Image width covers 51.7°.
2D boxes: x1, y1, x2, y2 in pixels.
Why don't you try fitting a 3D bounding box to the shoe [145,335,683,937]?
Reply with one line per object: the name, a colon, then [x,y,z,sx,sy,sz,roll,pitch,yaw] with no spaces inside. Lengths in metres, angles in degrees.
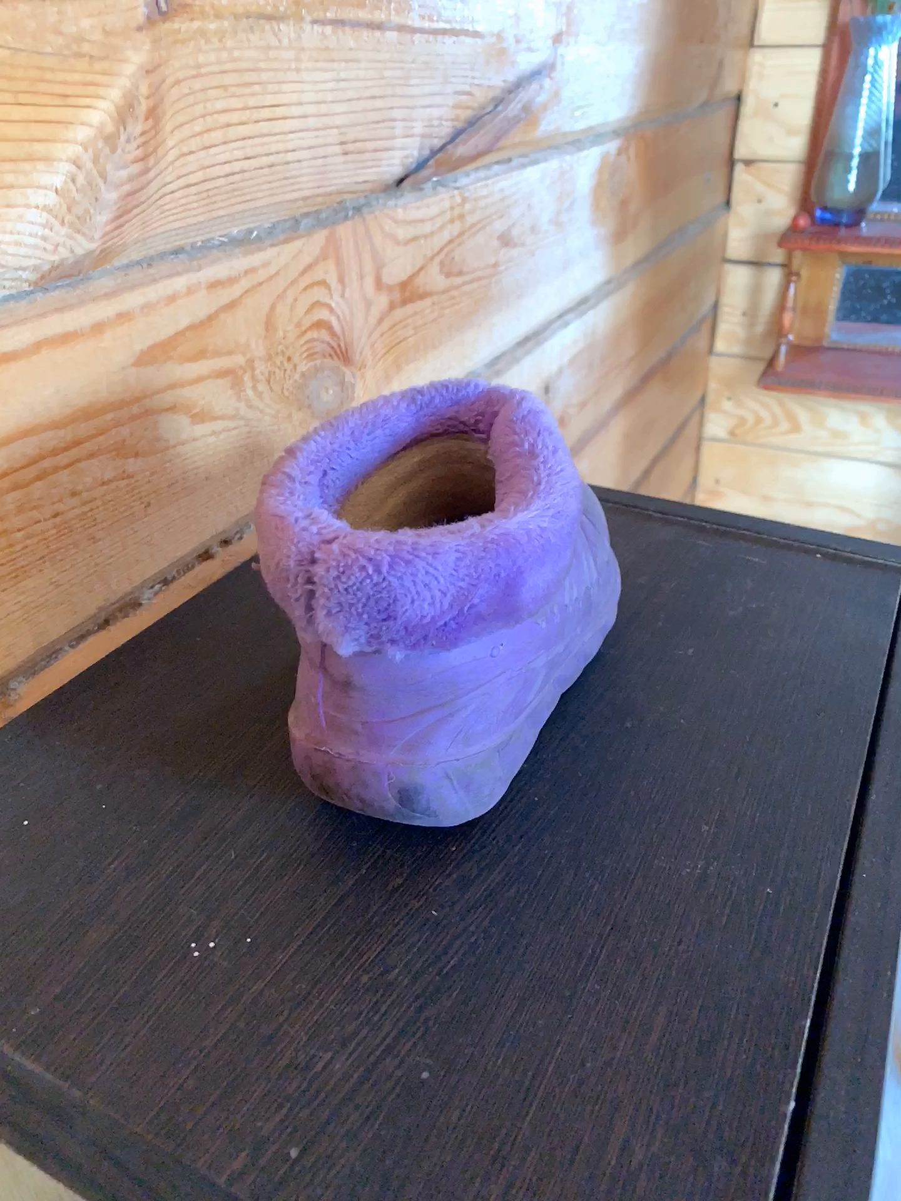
shoe: [0.008,-0.011,0.314,0.090,0.099,0.202,11,33,21]
